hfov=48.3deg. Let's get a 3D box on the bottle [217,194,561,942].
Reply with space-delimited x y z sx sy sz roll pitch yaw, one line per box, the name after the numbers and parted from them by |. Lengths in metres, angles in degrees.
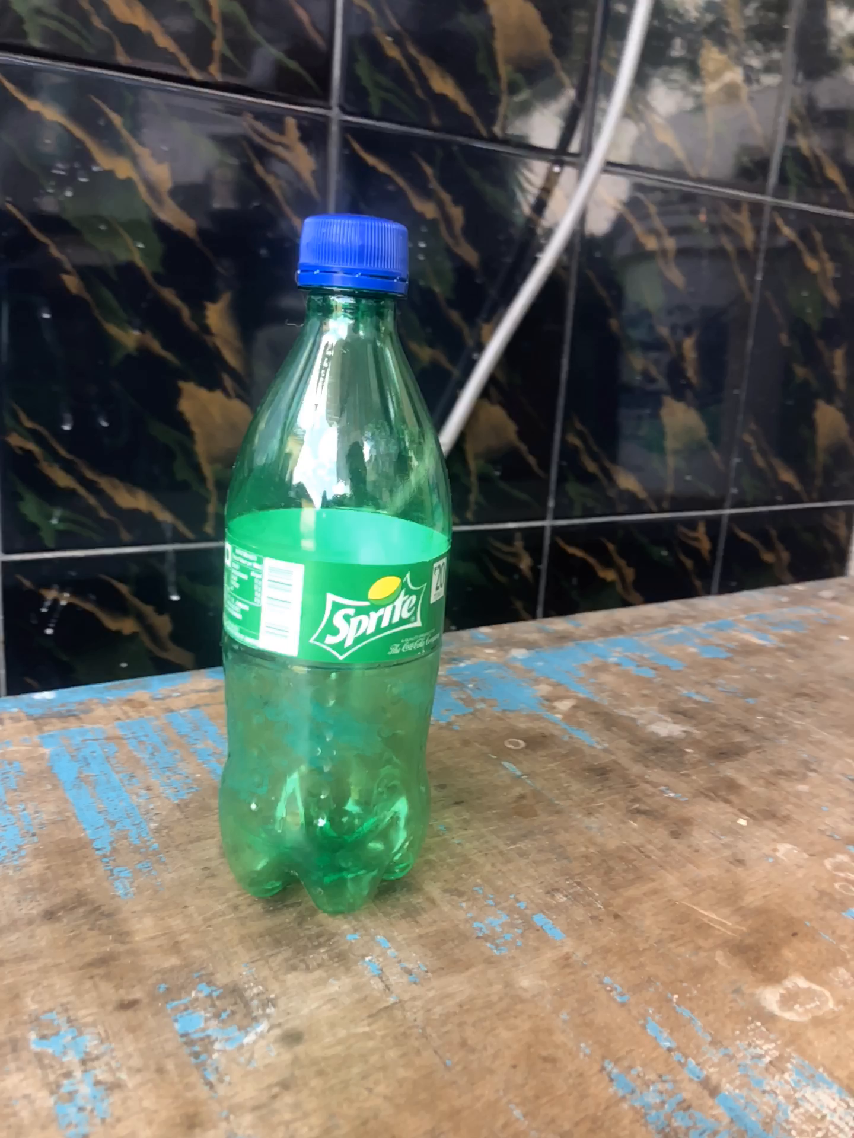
-0.014 0.000 0.231 0.060 0.159 0.050 -3 16 -24 | bottle
